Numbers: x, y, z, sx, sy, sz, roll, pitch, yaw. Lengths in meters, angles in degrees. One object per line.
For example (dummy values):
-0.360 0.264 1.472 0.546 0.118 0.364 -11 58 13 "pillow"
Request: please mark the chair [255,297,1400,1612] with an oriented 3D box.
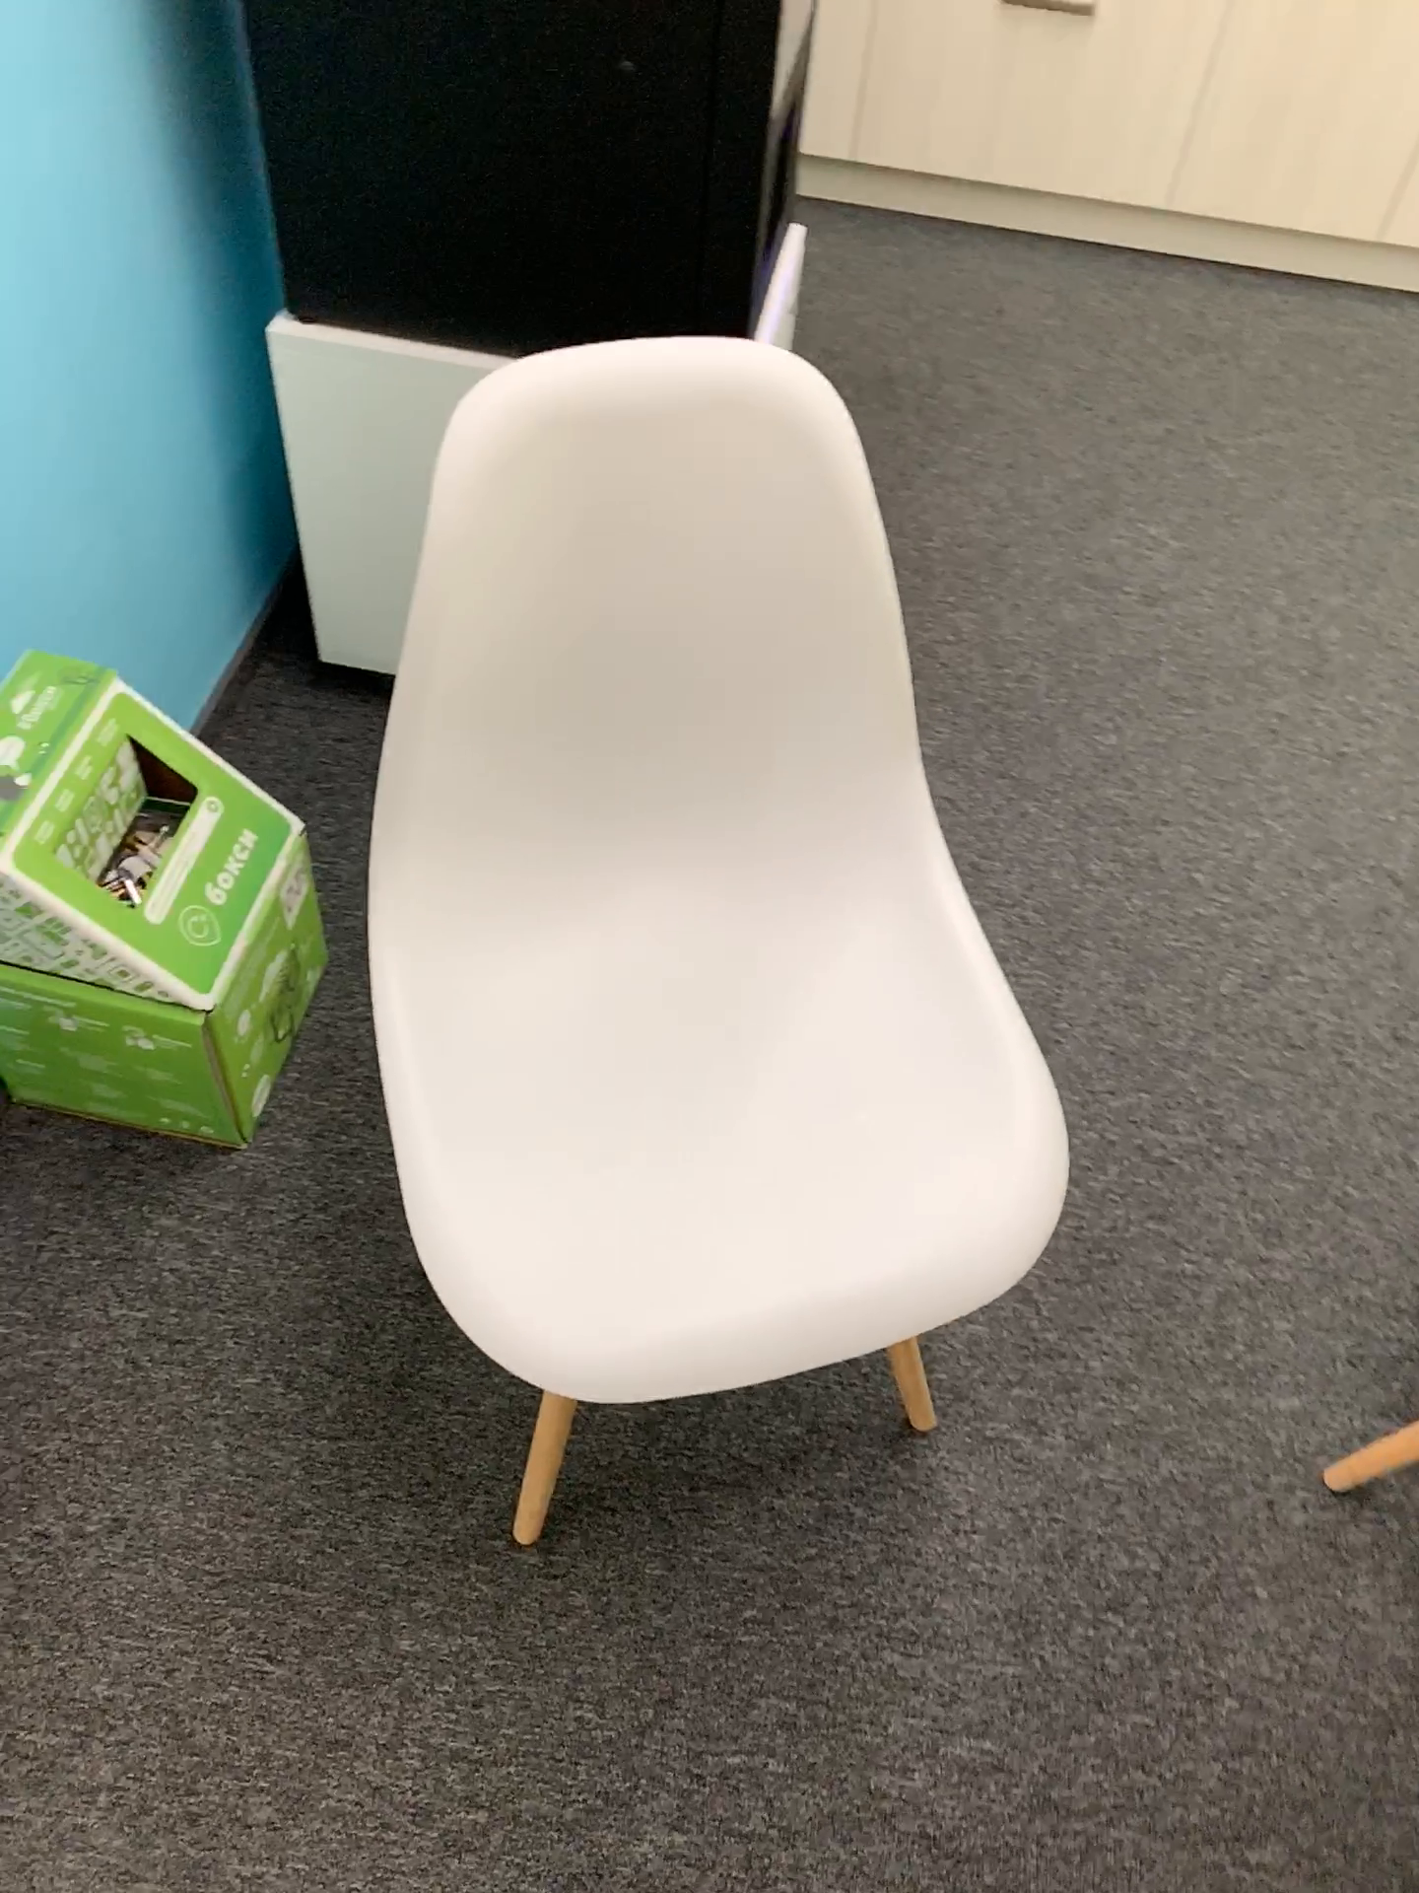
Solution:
-0.007 0.058 1.071 0.460 0.816 0.502 -10 53 -14 "chair"
